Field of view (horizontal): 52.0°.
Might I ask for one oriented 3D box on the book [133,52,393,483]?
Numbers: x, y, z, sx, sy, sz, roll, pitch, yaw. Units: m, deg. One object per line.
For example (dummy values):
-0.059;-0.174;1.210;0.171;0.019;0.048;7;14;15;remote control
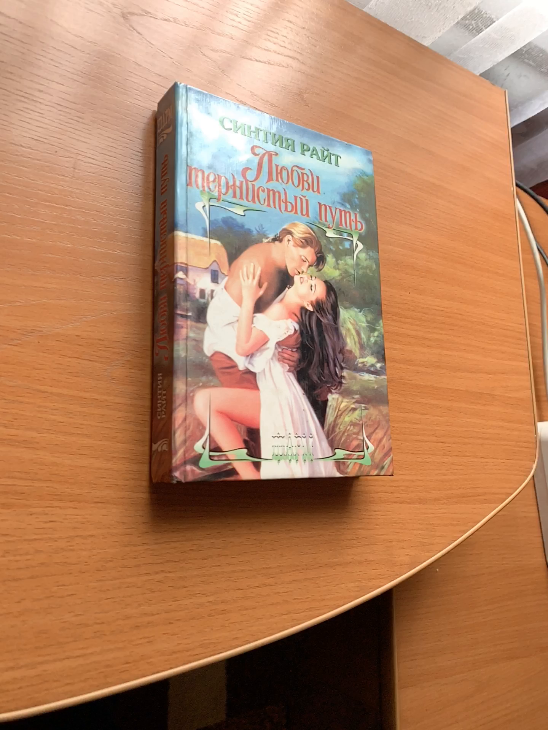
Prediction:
0.000;-0.044;0.311;0.140;0.030;0.210;6;78;-32;book
